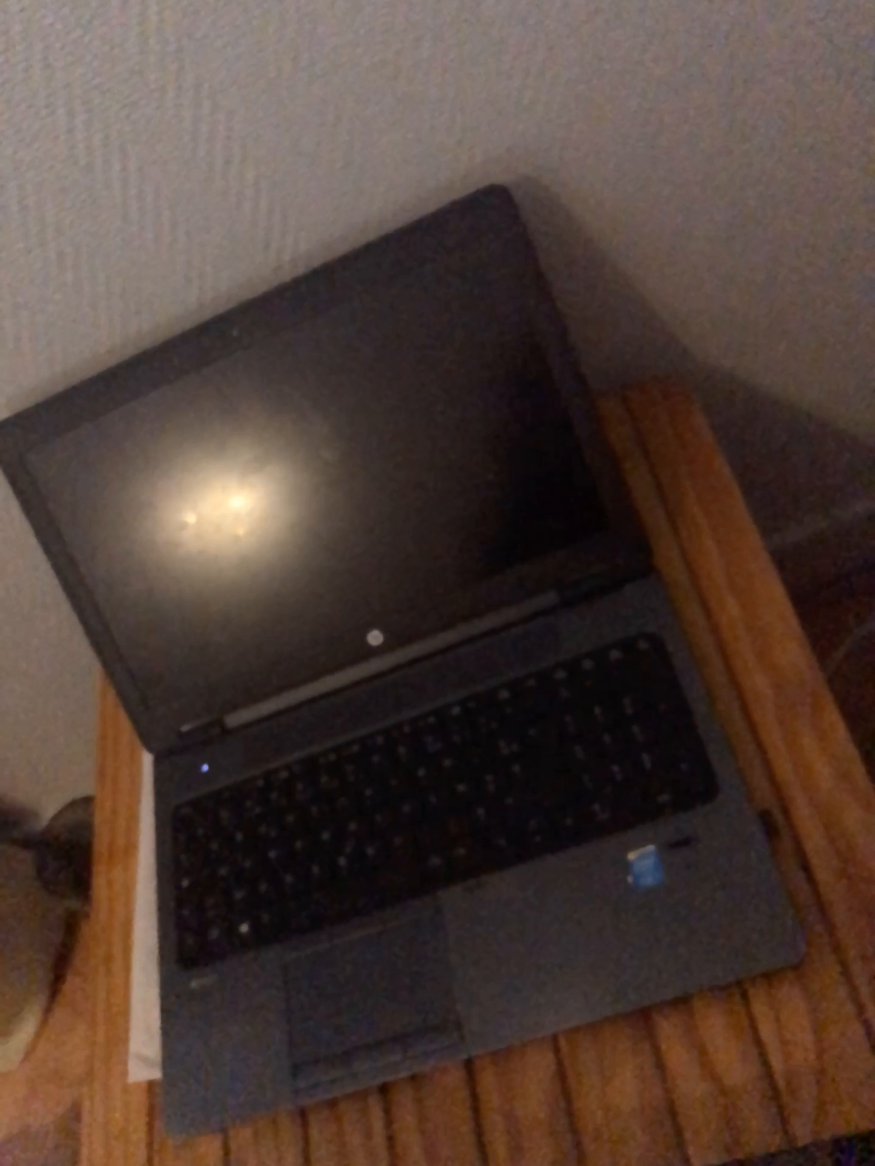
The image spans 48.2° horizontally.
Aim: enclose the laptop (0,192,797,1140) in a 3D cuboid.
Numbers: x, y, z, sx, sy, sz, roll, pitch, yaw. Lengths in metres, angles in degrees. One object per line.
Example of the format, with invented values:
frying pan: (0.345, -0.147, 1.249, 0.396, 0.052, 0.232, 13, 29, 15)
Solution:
laptop: (-0.066, 0.047, 0.582, 0.382, 0.196, 0.411, -22, 53, 11)
